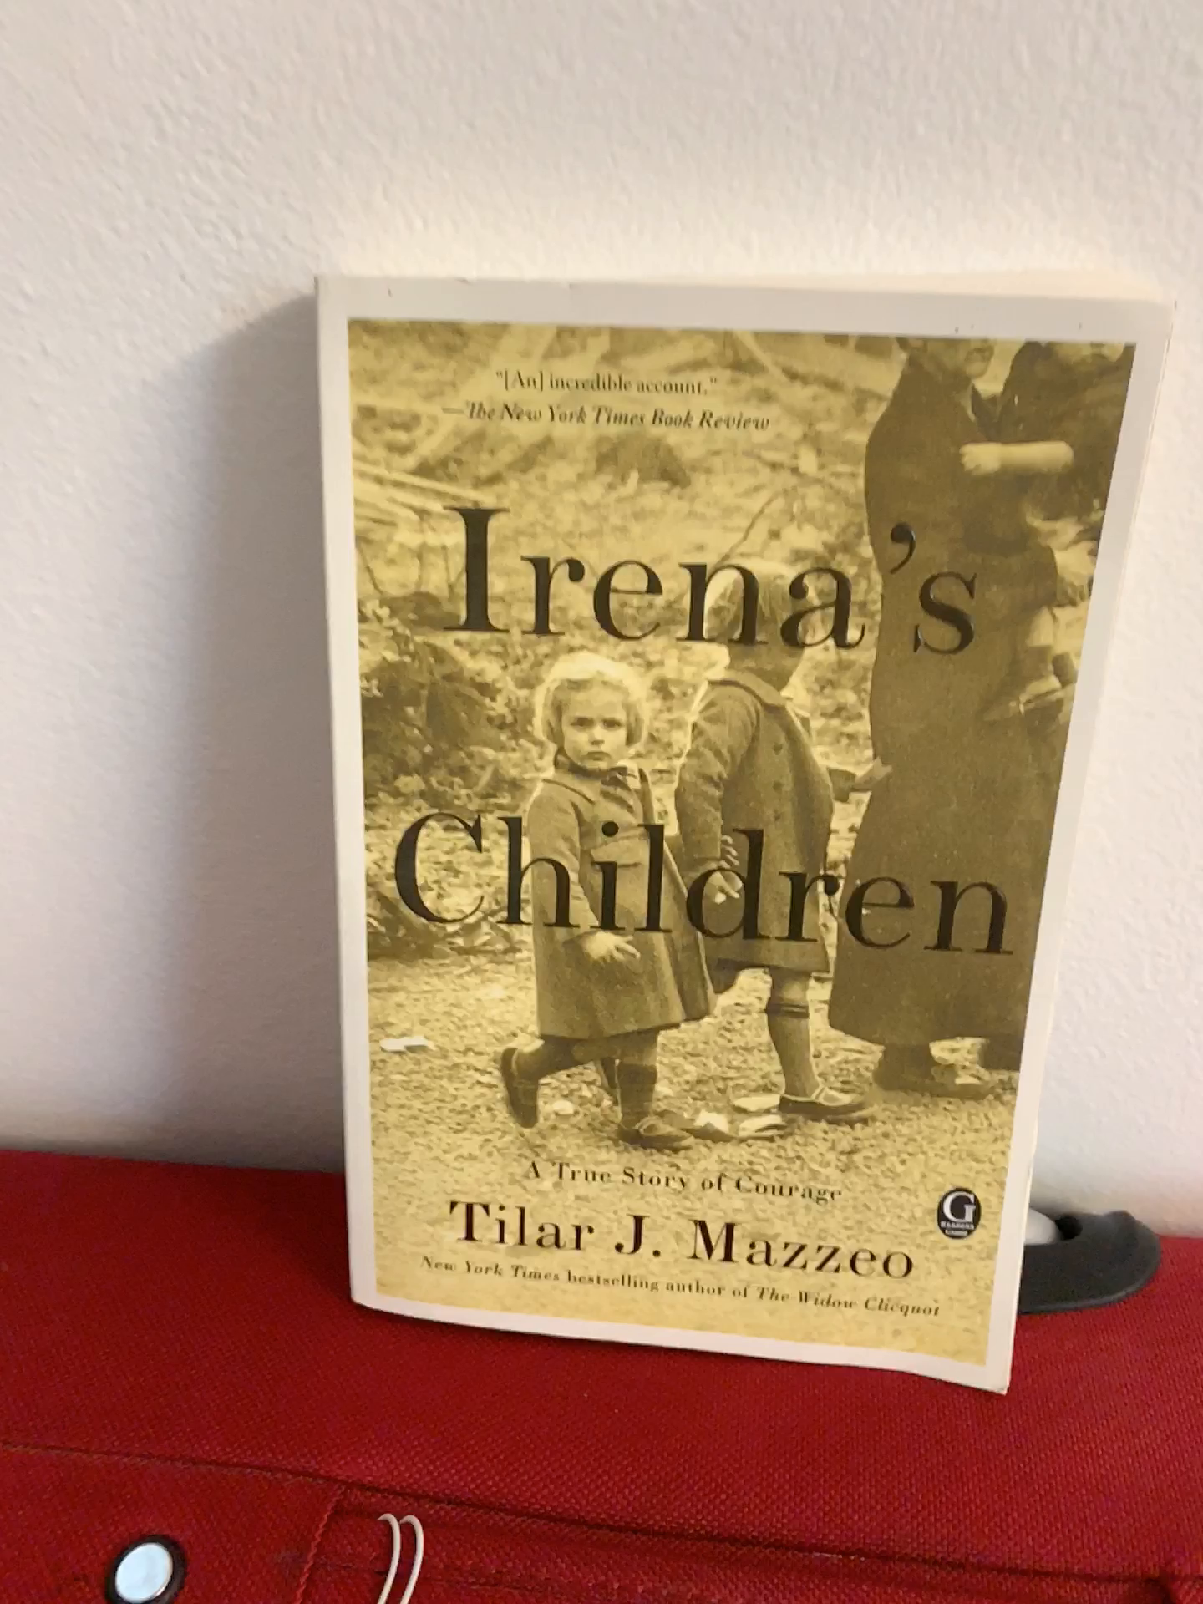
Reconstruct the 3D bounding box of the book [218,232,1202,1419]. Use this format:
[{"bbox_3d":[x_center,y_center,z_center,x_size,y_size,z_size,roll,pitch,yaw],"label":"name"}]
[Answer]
[{"bbox_3d":[0.021,0.013,0.254,0.170,0.229,0.030,3,19,9],"label":"book"}]
